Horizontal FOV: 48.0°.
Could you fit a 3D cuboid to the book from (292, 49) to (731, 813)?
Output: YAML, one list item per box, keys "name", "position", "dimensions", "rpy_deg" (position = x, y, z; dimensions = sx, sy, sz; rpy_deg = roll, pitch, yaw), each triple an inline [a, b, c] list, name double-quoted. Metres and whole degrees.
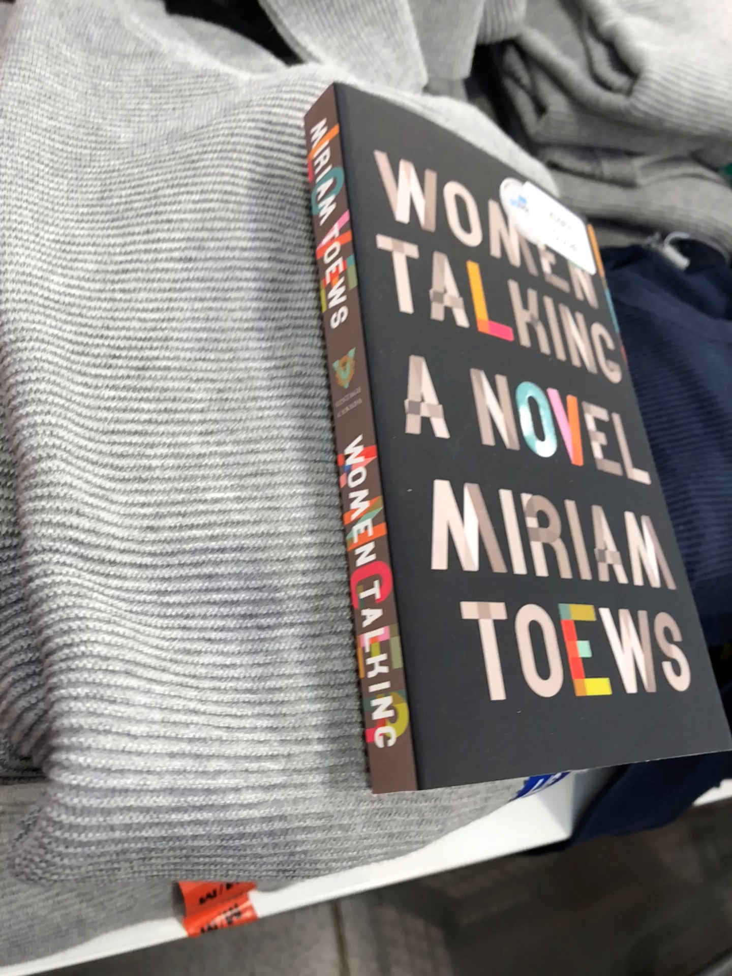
- name: "book"
  position: [0.047, -0.020, 0.256]
  dimensions: [0.135, 0.020, 0.211]
  rpy_deg: [9, 66, -37]
